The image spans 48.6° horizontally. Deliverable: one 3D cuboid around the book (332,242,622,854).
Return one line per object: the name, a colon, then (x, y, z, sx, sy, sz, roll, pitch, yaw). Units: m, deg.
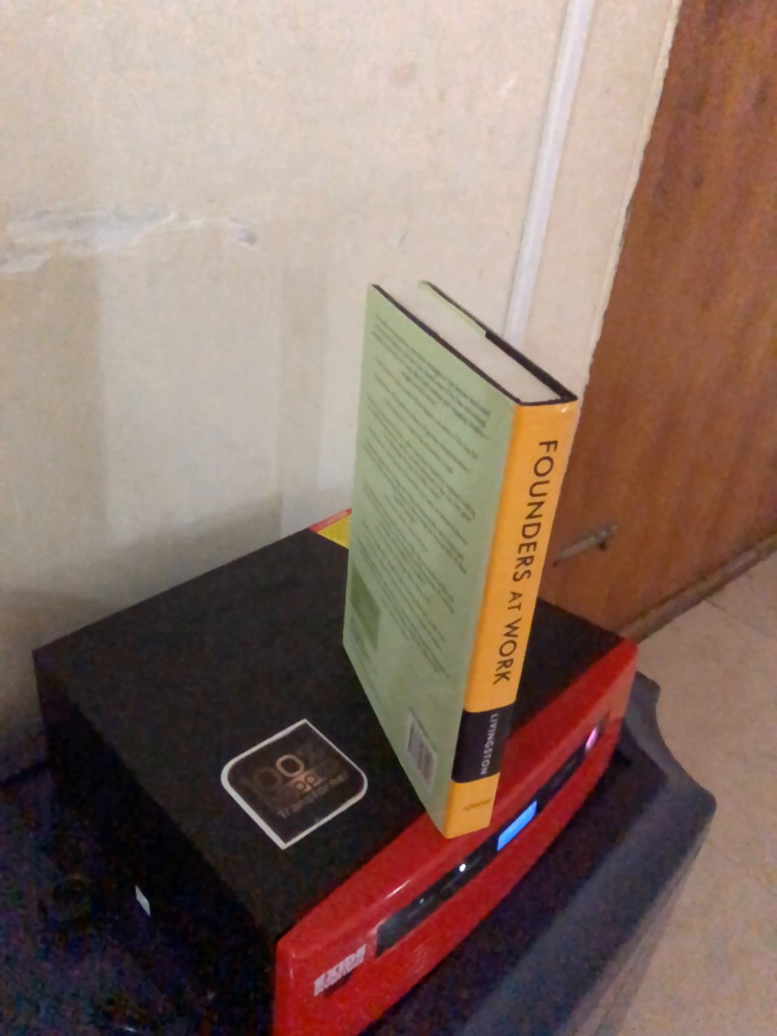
book: (0.023, 0.011, 0.438, 0.040, 0.249, 0.181, -6, 34, -19)
